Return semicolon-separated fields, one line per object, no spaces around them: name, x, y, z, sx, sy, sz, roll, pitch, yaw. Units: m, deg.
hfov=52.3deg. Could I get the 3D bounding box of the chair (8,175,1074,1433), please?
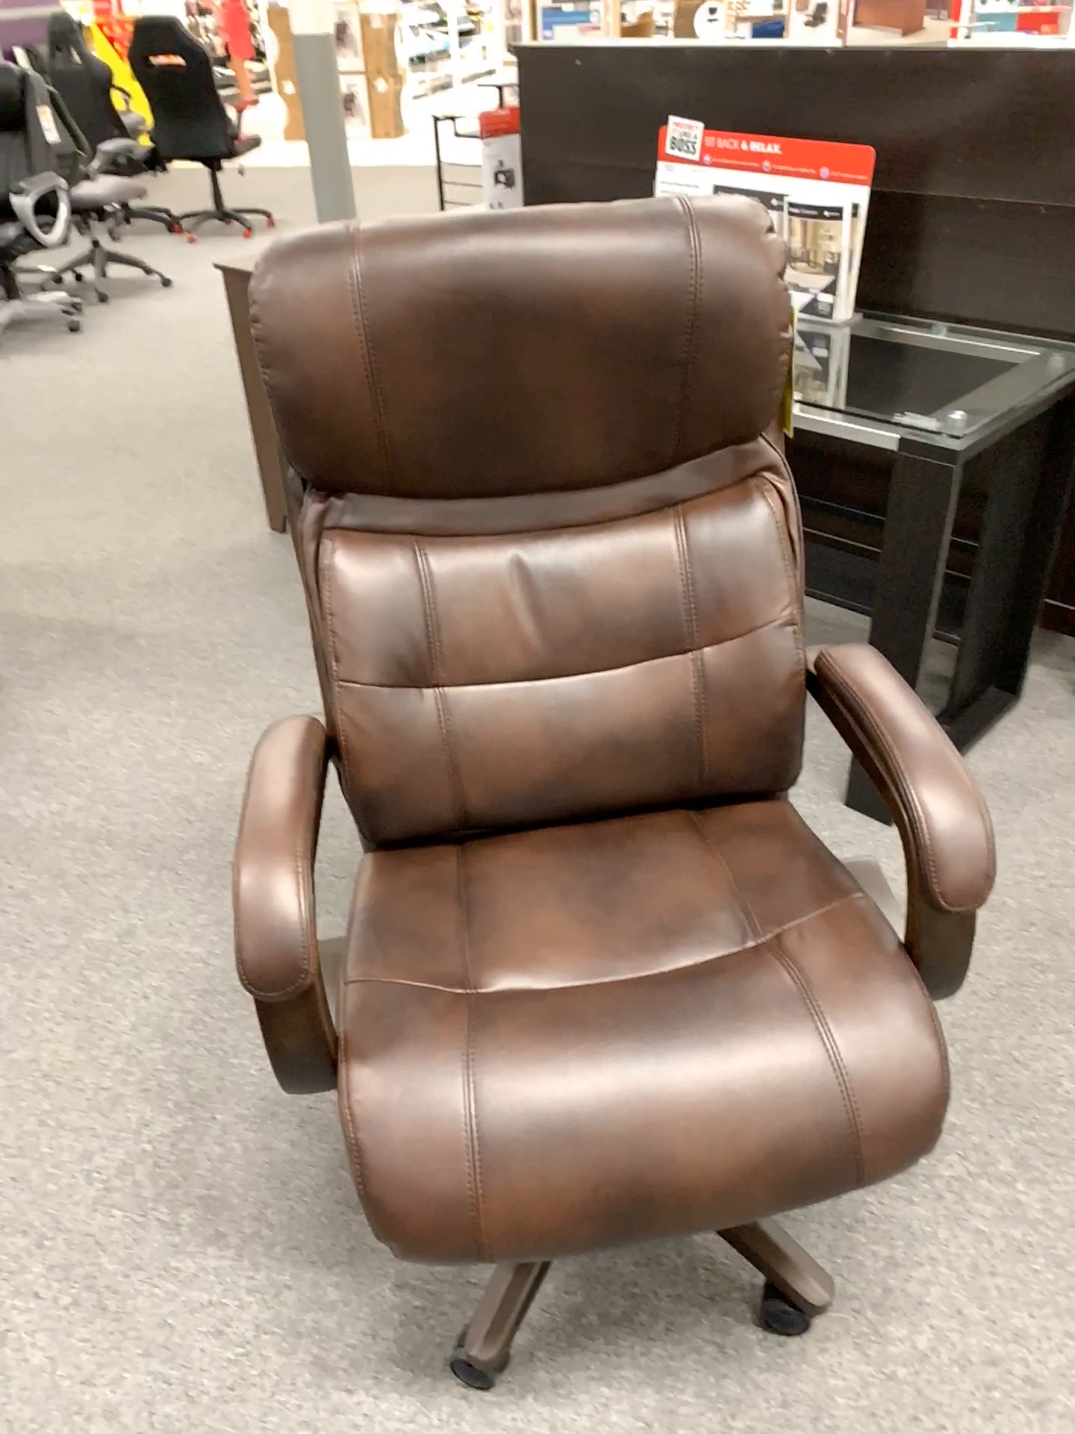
chair;0.056;0.100;1.167;0.710;1.094;0.704;-7;34;-6
